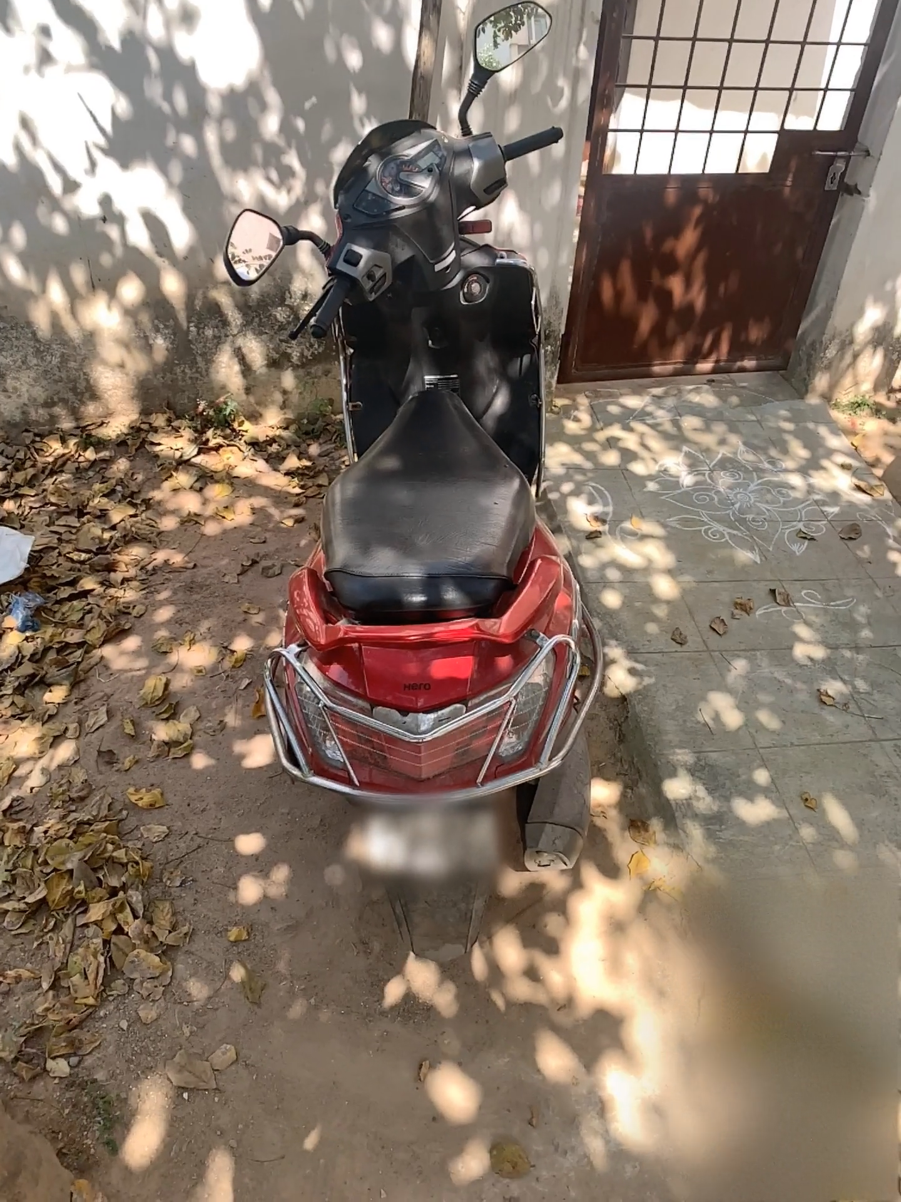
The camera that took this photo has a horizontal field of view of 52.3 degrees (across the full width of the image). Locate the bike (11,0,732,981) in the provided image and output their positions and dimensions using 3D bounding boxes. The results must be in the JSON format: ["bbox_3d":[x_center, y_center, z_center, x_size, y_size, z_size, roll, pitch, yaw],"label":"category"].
[{"bbox_3d":[-0.251,-0.405,1.902,0.735,1.156,1.766,-4,45,-9],"label":"bike"}]
